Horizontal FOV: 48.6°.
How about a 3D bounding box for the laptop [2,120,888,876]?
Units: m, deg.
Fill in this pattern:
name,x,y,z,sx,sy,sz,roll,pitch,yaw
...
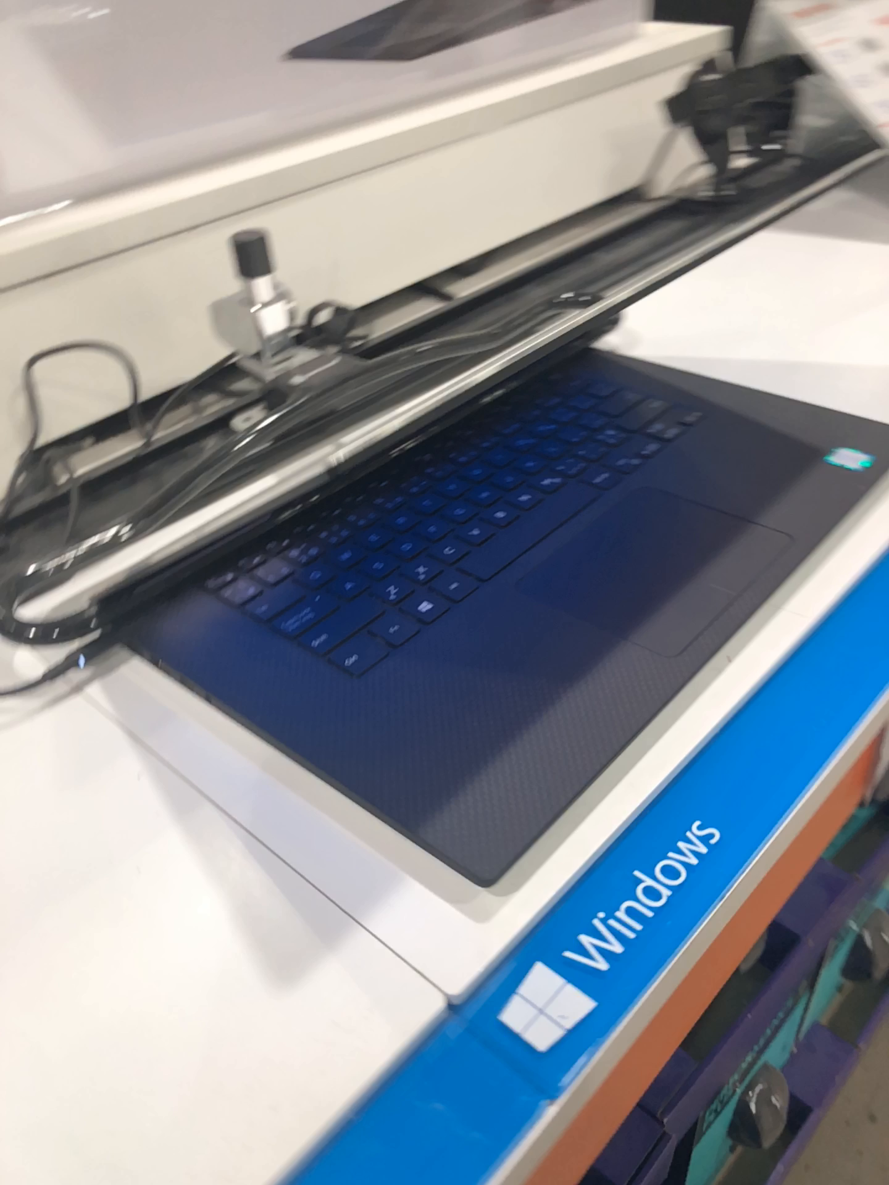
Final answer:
name,x,y,z,sx,sy,sz,roll,pitch,yaw
laptop,0.041,-0.088,0.428,0.217,0.133,0.346,25,45,33
